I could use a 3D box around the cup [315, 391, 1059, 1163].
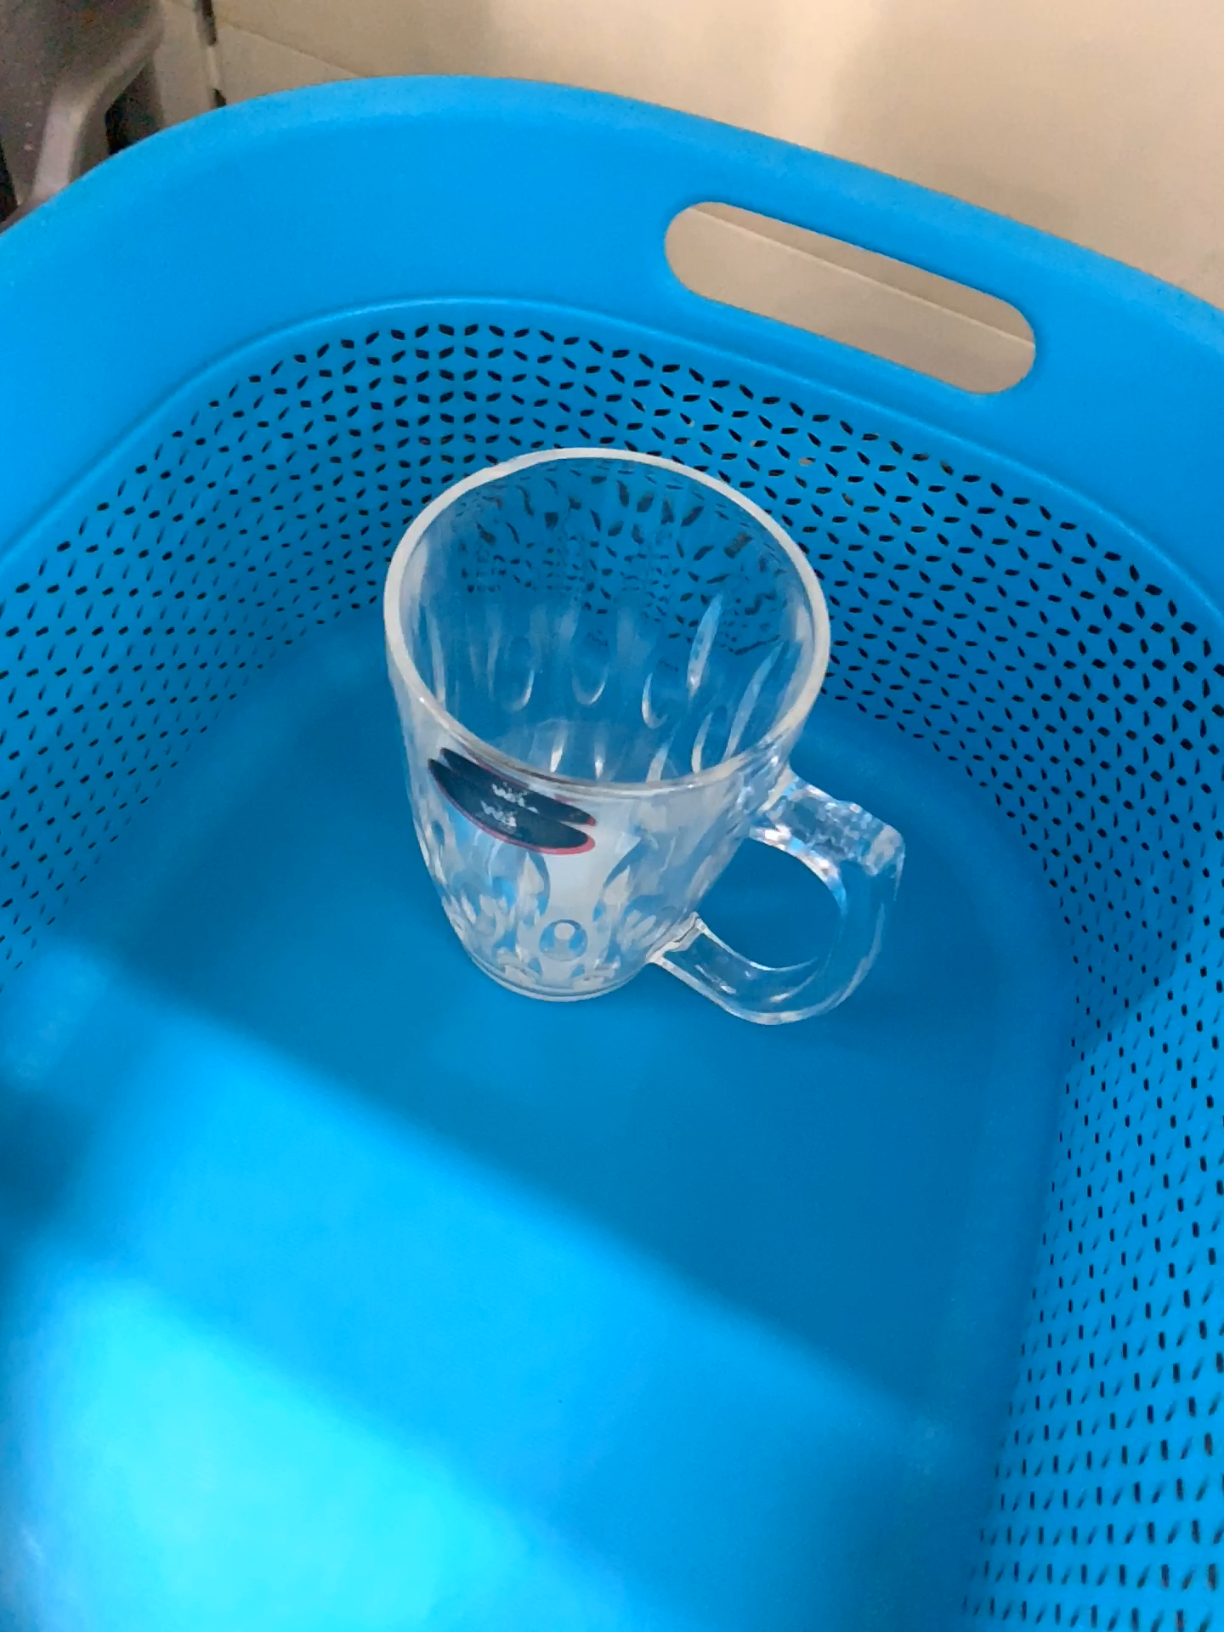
[{"bbox_3d":[0.011,-0.001,0.267,0.109,0.117,0.078,22,58,7],"label":"cup"}]
